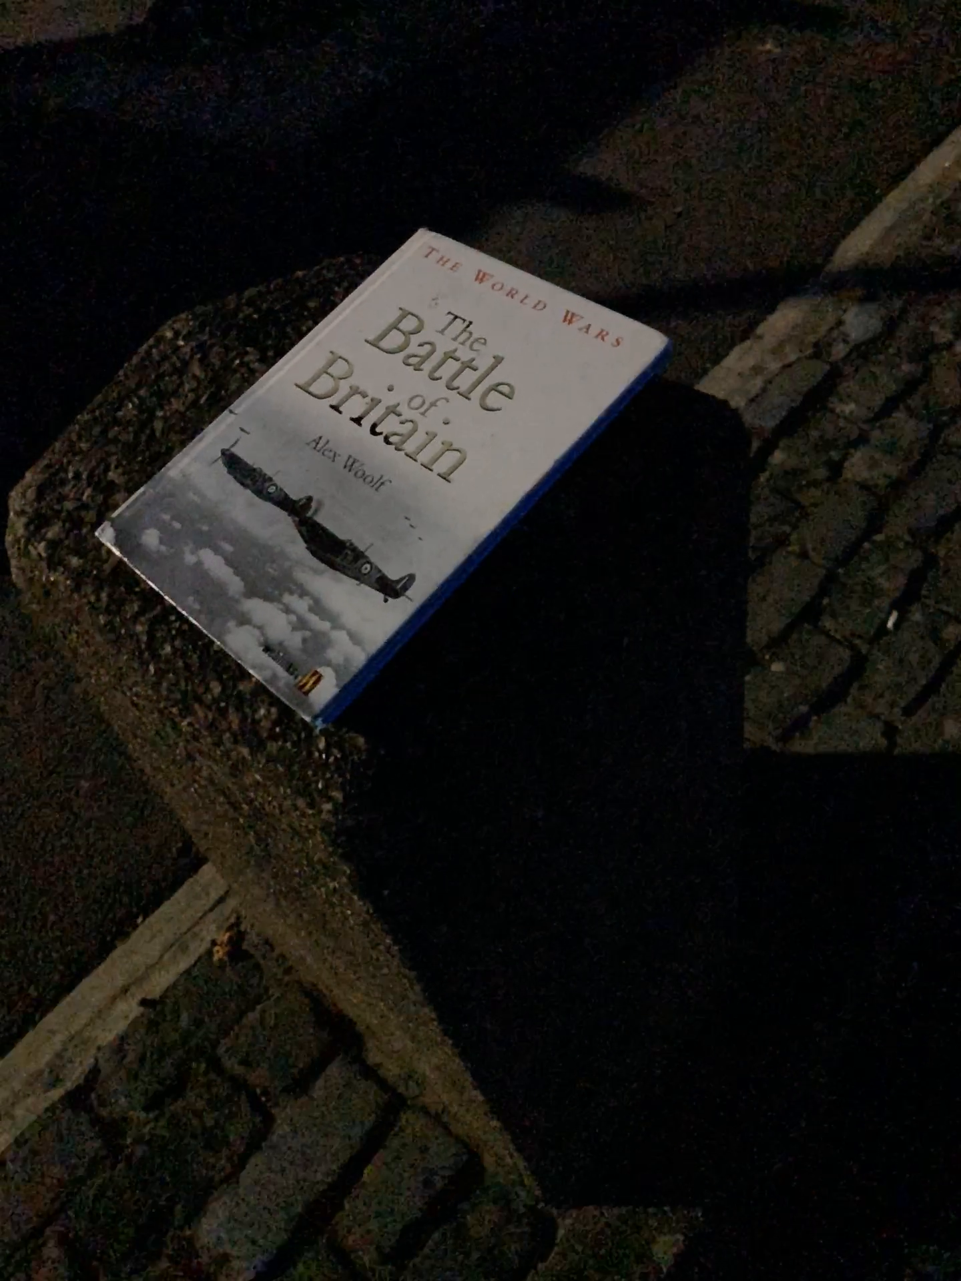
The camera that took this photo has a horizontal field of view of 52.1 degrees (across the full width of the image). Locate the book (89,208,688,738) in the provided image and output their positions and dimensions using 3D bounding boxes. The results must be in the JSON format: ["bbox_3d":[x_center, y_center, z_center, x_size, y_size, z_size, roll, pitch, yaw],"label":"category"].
[{"bbox_3d":[-0.047,-0.096,0.470,0.171,0.020,0.245,37,76,29],"label":"book"}]
